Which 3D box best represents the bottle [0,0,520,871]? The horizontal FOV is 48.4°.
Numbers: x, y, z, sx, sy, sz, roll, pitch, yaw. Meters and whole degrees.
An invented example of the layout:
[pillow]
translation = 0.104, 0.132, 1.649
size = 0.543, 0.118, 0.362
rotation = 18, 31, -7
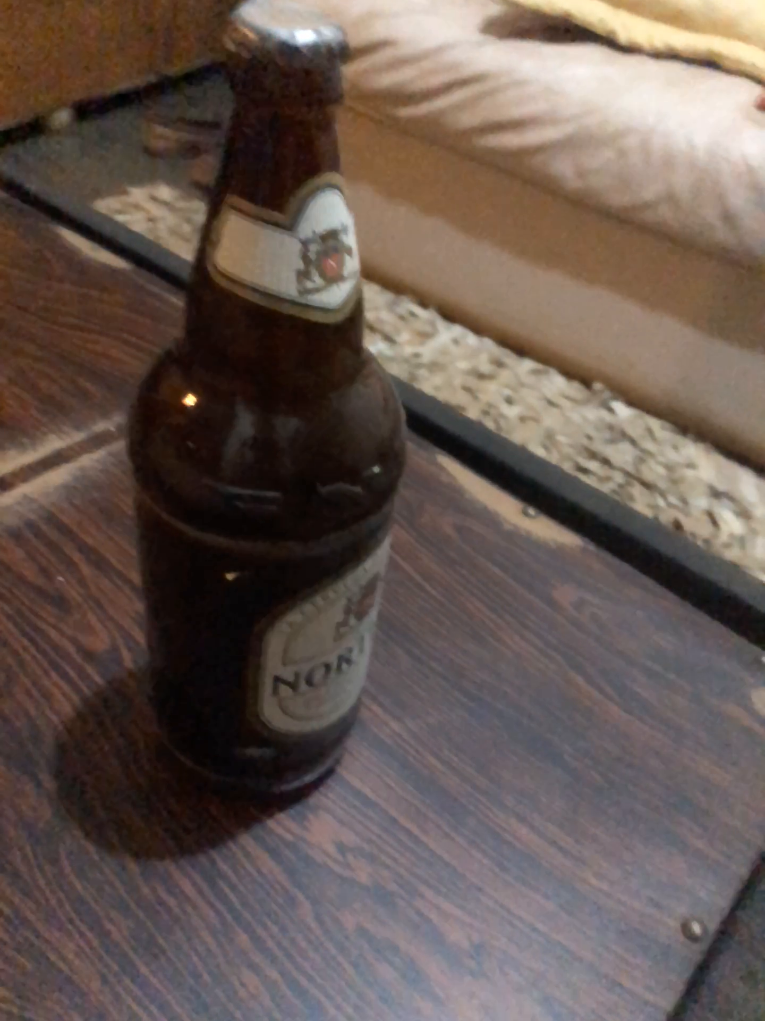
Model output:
[bottle]
translation = -0.046, -0.013, 0.281
size = 0.100, 0.268, 0.101
rotation = 4, 40, -4
